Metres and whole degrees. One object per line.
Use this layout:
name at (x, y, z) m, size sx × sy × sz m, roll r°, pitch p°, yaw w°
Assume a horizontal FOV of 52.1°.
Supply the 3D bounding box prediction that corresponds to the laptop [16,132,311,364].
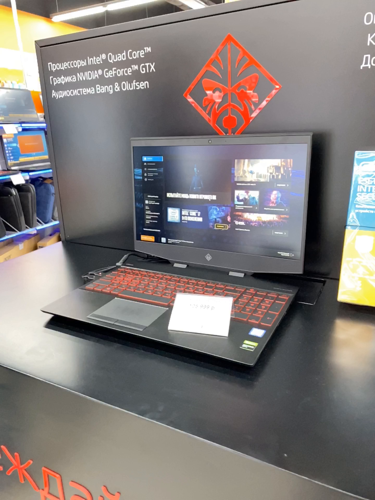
laptop at (-0.015, -0.050, 0.627) m, size 0.359 × 0.247 × 0.302 m, roll 7°, pitch 20°, yaw 27°
